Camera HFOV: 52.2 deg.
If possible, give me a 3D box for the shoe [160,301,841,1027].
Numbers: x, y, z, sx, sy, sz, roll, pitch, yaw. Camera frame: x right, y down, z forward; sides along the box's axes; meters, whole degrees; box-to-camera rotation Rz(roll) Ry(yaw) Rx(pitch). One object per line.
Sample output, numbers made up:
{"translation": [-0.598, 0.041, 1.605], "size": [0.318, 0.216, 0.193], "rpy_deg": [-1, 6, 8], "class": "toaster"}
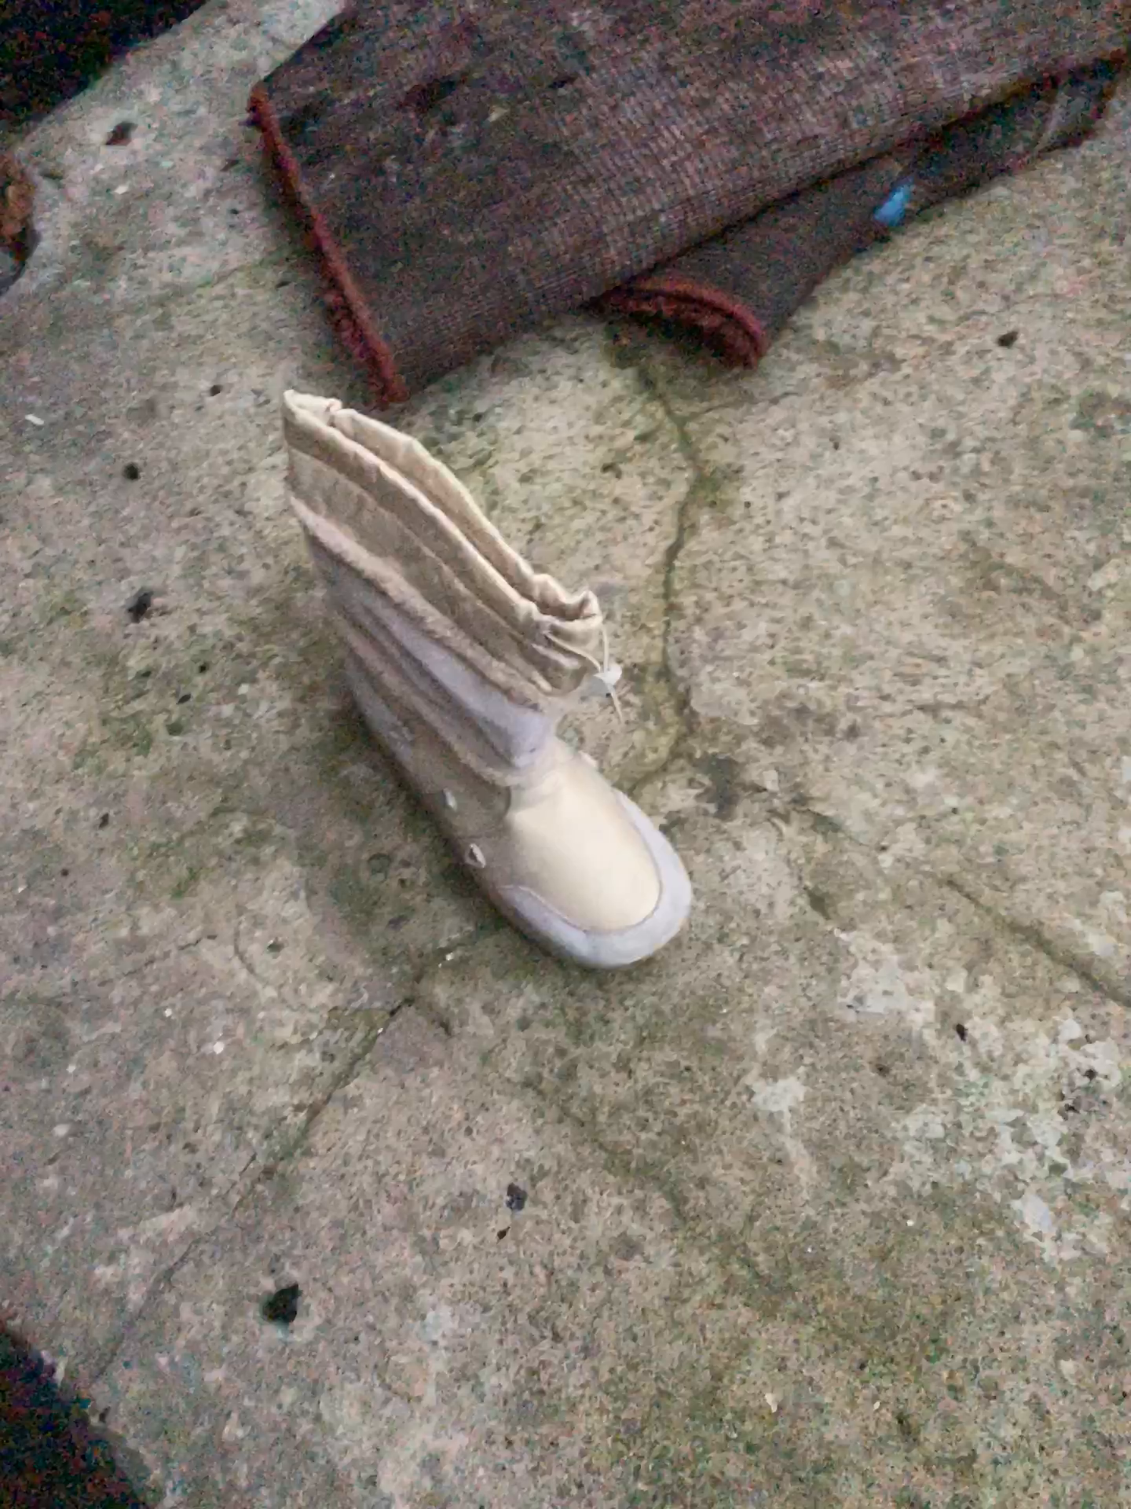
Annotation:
{"translation": [-0.029, -0.016, 0.603], "size": [0.120, 0.309, 0.271], "rpy_deg": [-42, 75, -12], "class": "shoe"}
